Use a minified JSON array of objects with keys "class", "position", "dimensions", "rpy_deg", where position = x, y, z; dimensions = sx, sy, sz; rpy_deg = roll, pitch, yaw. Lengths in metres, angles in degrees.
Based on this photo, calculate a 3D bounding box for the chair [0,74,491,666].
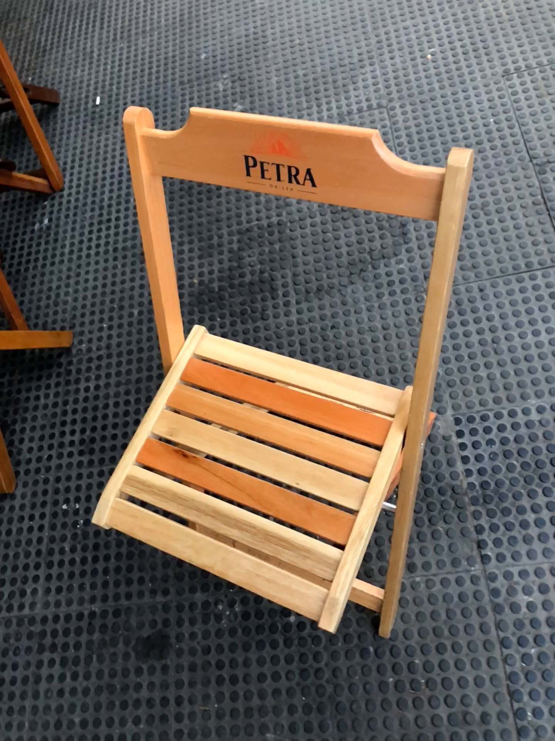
[{"class":"chair","position":[-0.017,0.076,0.905],"dimensions":[0.481,0.757,0.501],"rpy_deg":[15,70,22]}]
